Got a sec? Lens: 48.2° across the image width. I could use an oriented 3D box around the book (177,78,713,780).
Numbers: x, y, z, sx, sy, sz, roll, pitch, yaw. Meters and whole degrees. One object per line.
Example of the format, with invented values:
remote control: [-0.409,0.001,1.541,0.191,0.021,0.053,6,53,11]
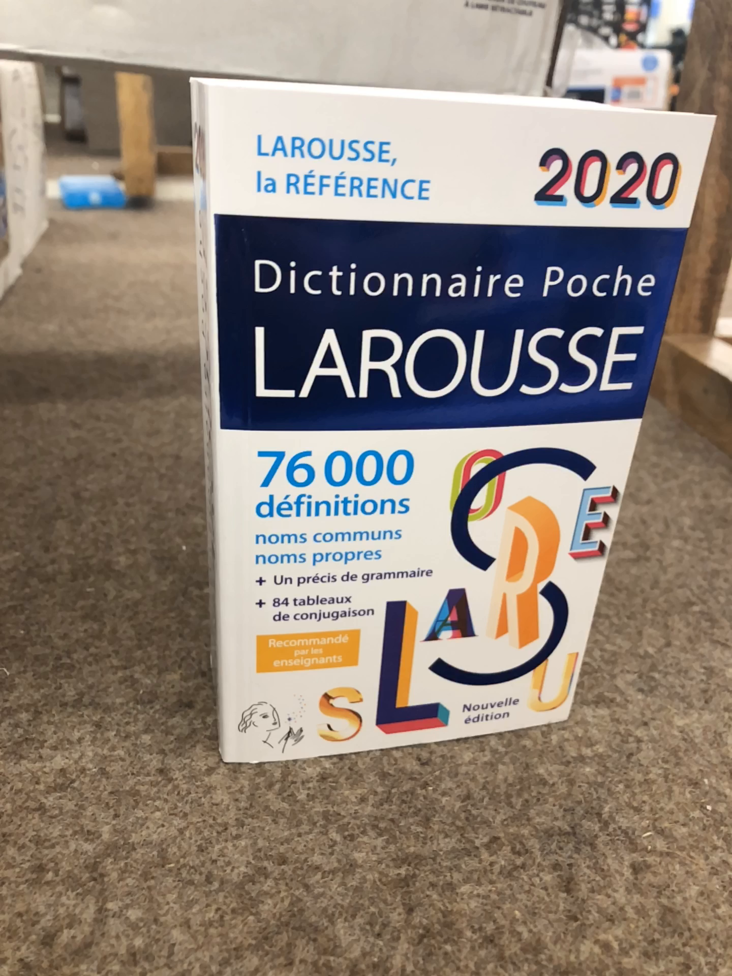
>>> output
book: [0.009,-0.014,0.228,0.111,0.173,0.061,-3,27,-13]
